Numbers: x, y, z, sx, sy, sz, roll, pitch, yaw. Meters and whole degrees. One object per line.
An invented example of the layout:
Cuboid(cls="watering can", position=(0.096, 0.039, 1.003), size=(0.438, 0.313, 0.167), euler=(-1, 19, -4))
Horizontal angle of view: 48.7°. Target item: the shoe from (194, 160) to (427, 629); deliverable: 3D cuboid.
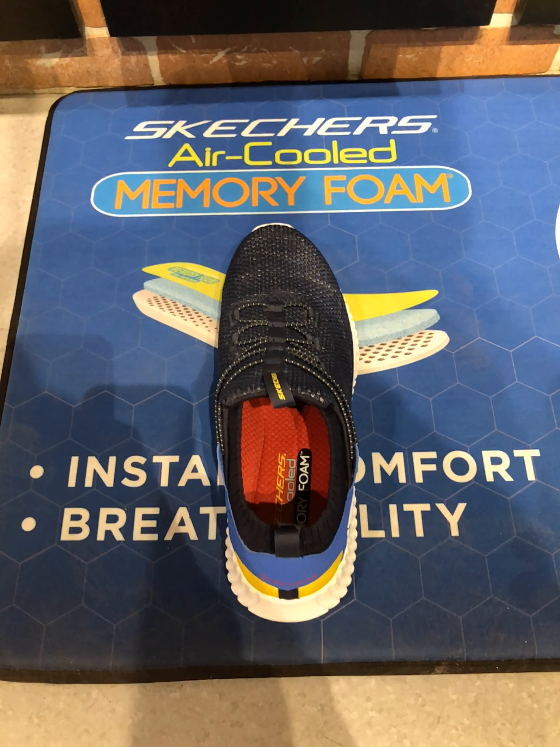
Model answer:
Cuboid(cls="shoe", position=(0.007, 0.008, 0.402), size=(0.111, 0.103, 0.280), euler=(-4, 65, 0))
